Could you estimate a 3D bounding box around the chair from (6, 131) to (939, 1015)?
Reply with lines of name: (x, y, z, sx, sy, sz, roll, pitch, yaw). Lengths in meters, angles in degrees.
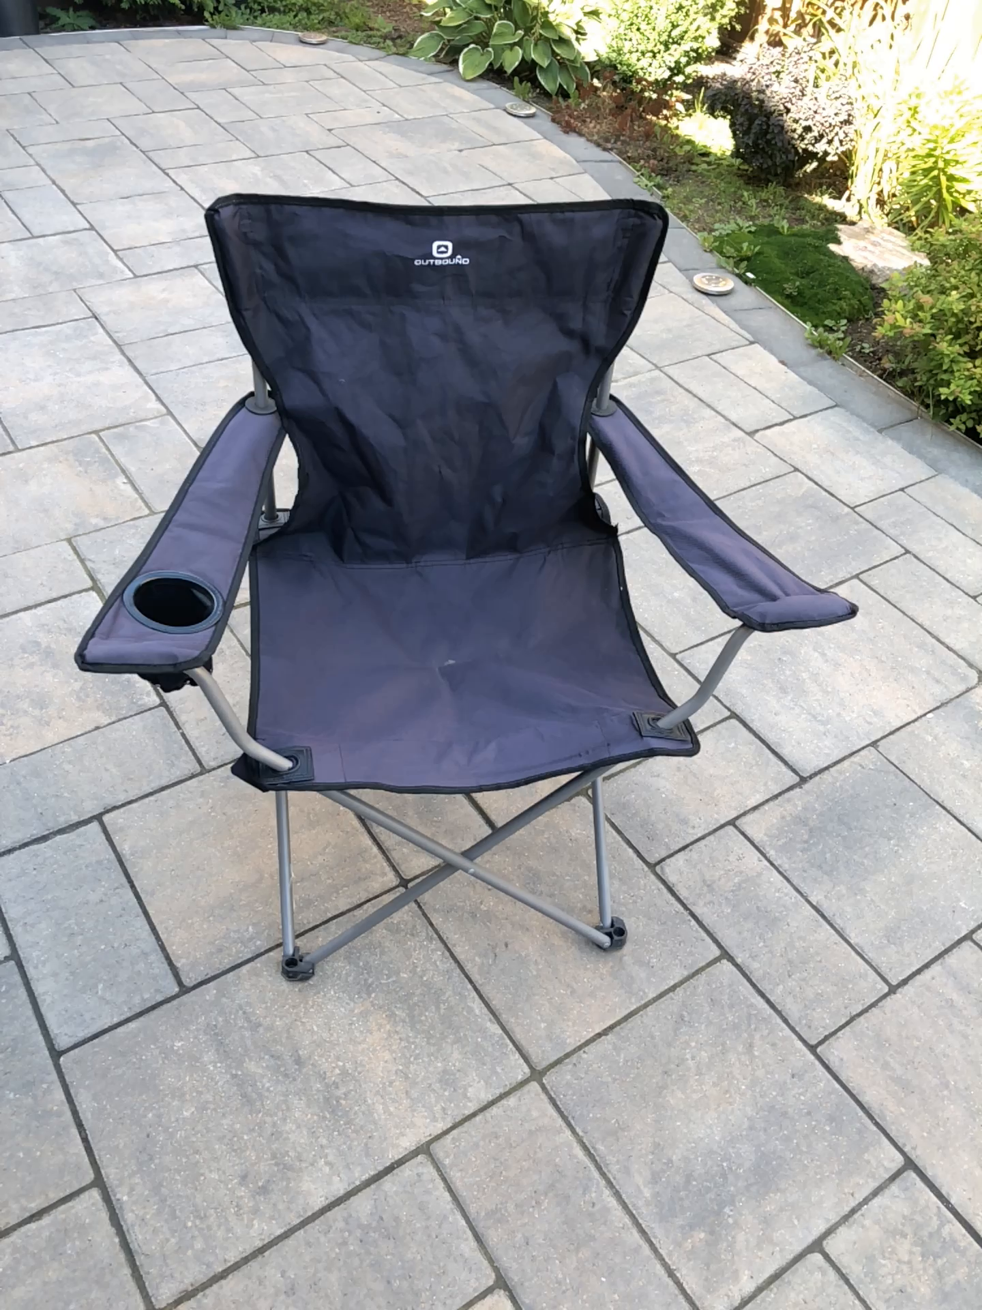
chair: (-0.064, -0.075, 1.273, 0.690, 0.817, 0.572, -3, 44, -9)
